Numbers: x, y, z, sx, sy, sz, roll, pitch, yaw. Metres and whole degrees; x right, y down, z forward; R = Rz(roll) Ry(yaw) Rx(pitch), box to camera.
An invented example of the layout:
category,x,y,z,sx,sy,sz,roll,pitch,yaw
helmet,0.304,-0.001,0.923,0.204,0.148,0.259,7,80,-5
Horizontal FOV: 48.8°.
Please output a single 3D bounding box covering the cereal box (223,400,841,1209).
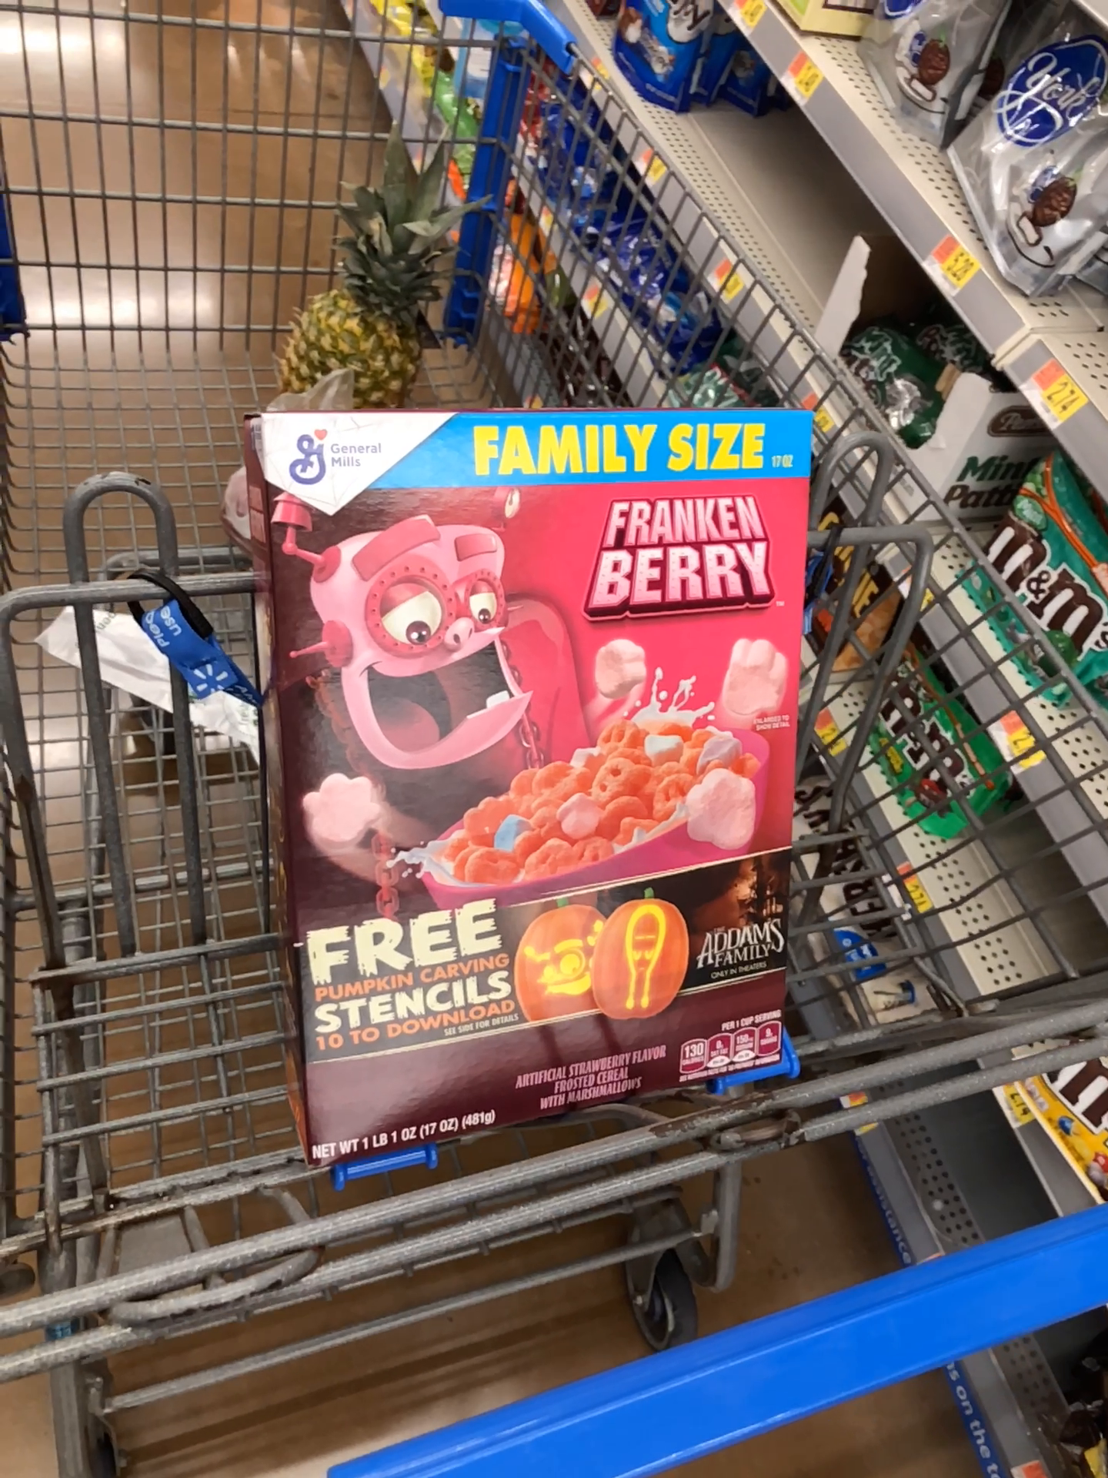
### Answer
category,x,y,z,sx,sy,sz,roll,pitch,yaw
cereal box,-0.005,0.019,0.534,0.240,0.320,0.070,-6,16,-20
